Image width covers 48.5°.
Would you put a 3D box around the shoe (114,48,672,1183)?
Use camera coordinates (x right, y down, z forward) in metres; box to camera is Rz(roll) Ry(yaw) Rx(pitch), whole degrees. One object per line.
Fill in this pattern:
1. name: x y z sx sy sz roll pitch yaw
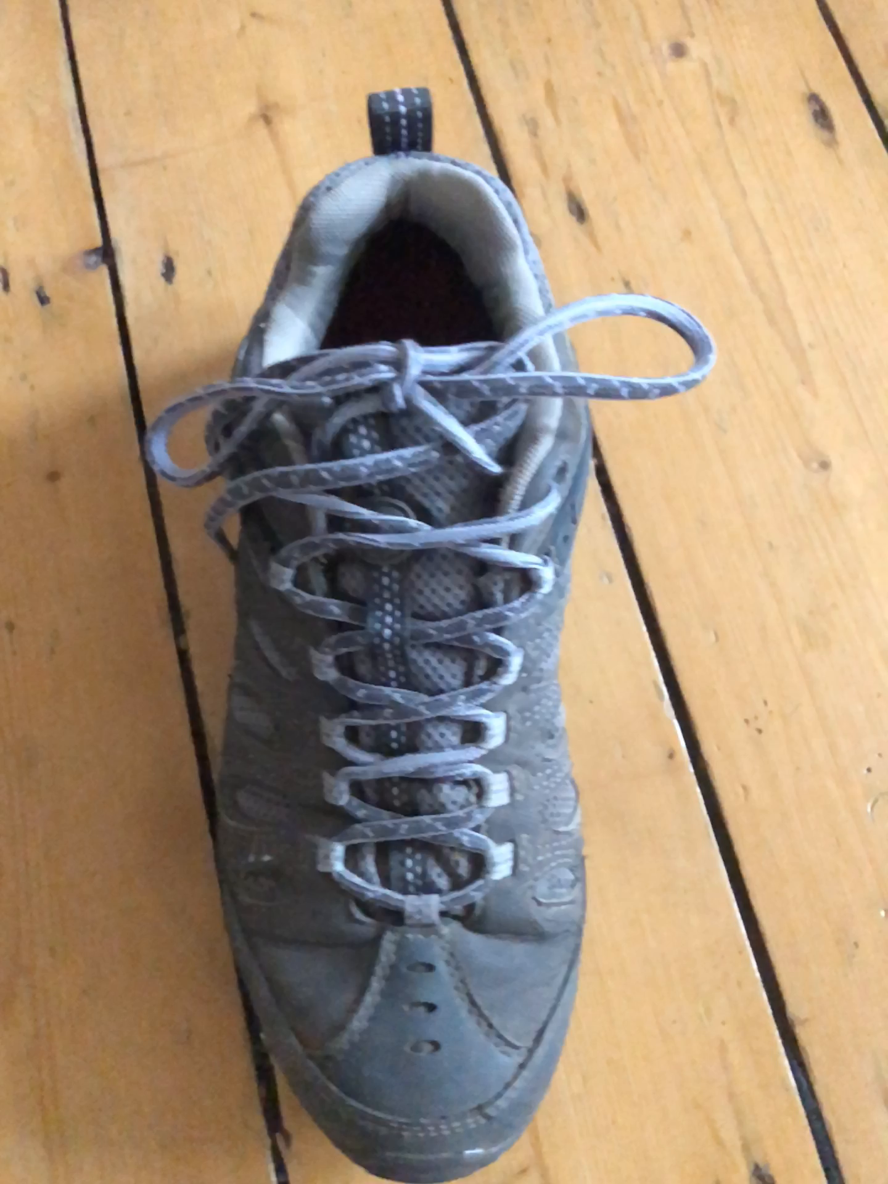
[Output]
1. shoe: -0.012 0.010 0.269 0.100 0.110 0.280 -1 74 0
